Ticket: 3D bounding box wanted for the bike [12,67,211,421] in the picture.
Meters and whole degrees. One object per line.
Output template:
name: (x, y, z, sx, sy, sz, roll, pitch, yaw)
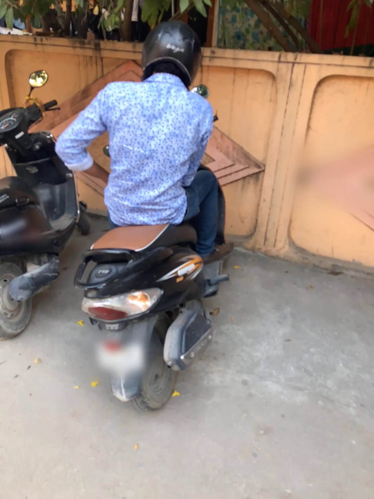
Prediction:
bike: (-0.248, -0.187, 2.040, 0.628, 1.038, 1.327, 5, 32, 3)
